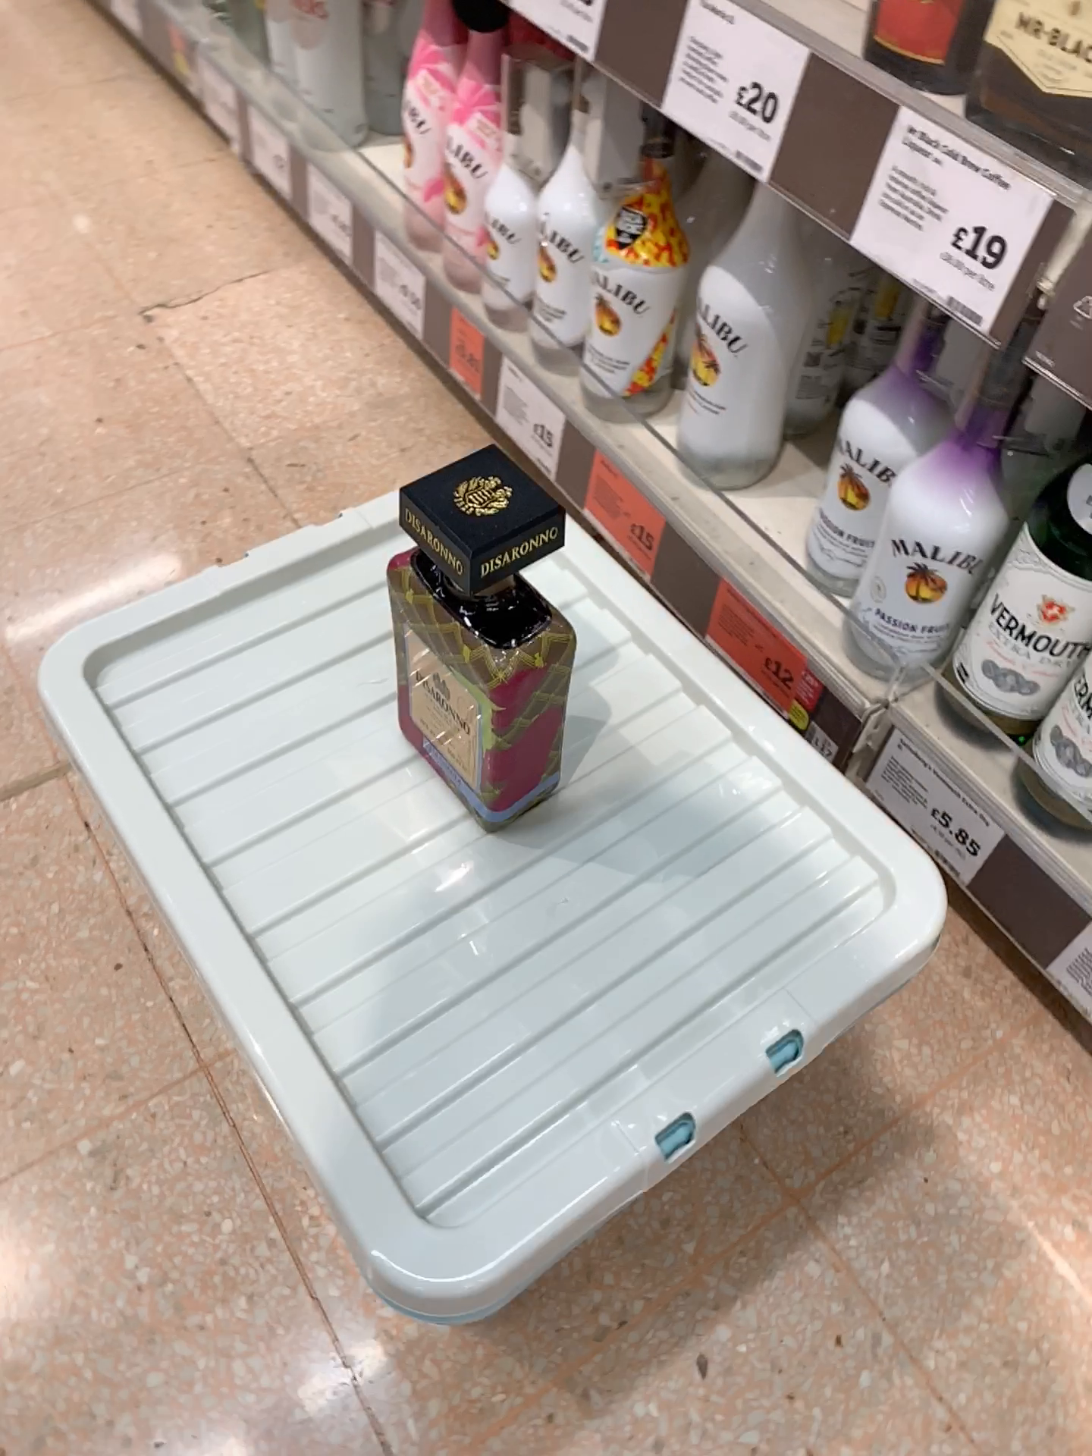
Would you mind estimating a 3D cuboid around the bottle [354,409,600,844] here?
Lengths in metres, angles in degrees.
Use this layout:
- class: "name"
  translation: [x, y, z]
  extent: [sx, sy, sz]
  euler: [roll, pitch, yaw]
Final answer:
- class: "bottle"
  translation: [-0.036, -0.043, 0.566]
  extent: [0.060, 0.198, 0.101]
  euler: [-30, 60, -23]
